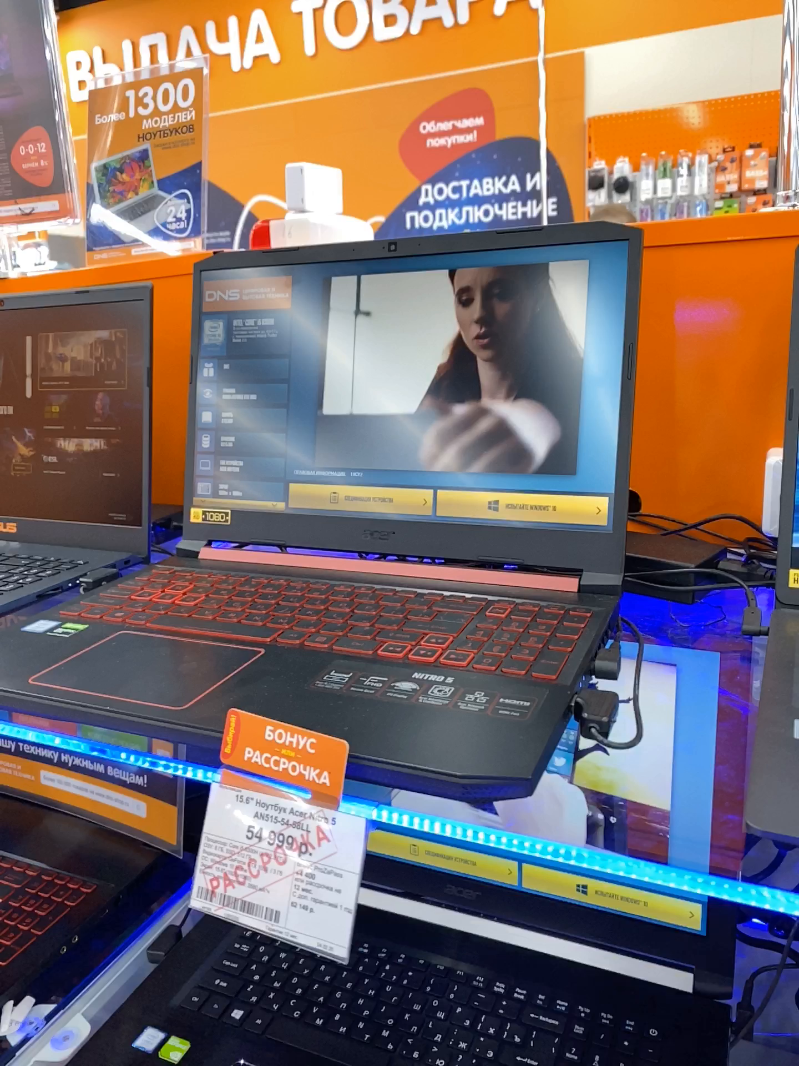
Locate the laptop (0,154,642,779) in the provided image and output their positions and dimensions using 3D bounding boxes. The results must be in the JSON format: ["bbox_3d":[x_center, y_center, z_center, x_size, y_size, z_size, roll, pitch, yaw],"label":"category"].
[{"bbox_3d":[-0.058,-0.062,0.509,0.360,0.237,0.303,4,15,22],"label":"laptop"}]
